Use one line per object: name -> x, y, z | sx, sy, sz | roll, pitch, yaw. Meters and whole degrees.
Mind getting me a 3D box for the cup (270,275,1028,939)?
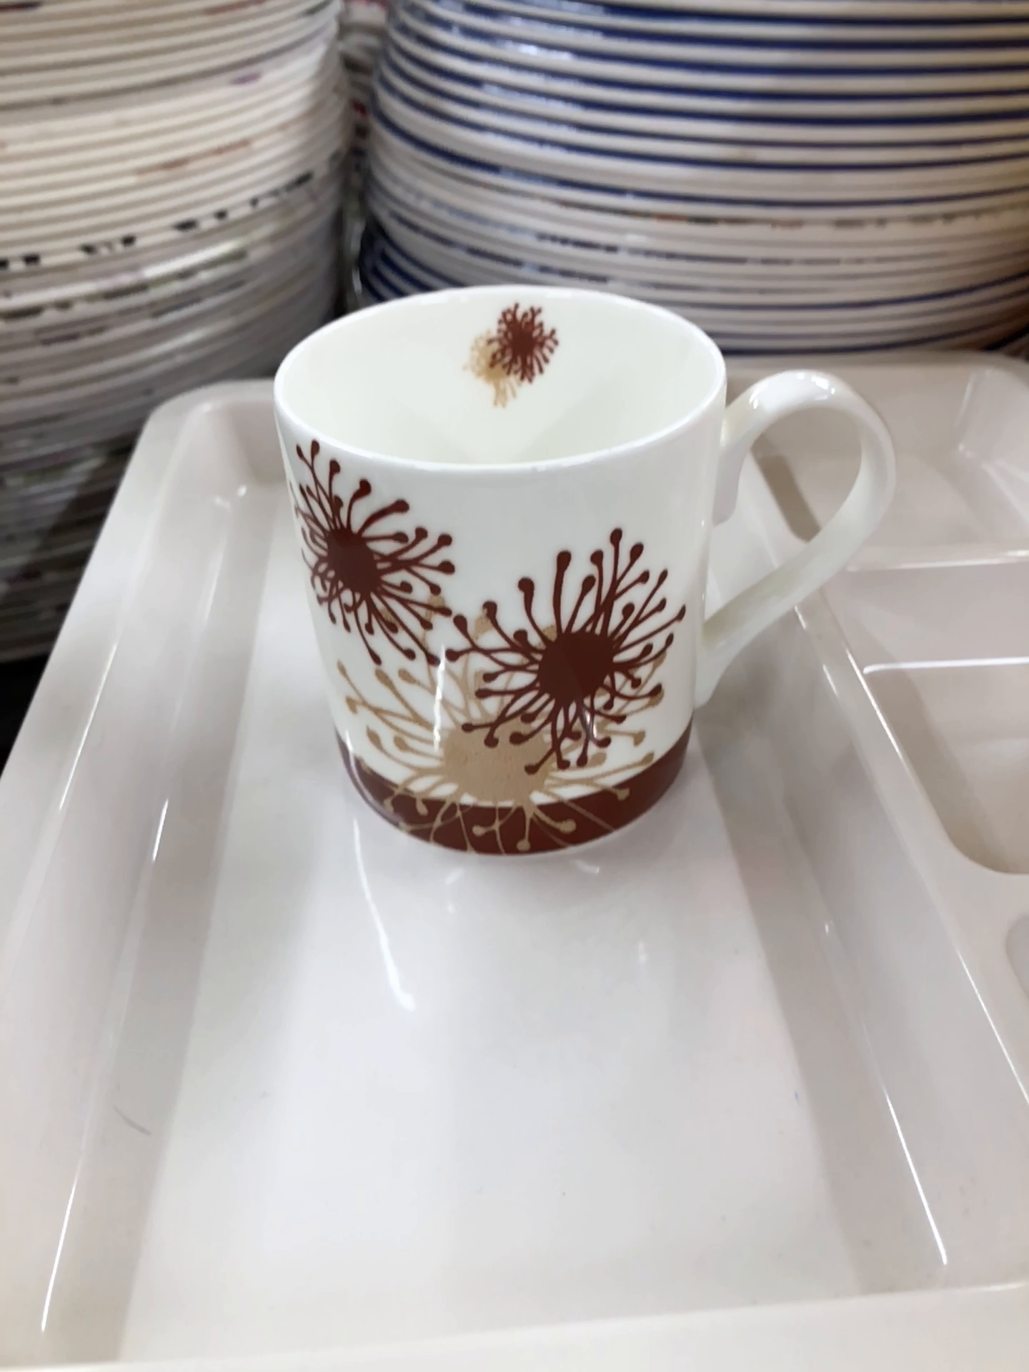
cup -> 0.019, -0.019, 0.225 | 0.120, 0.089, 0.081 | -5, 38, -8
